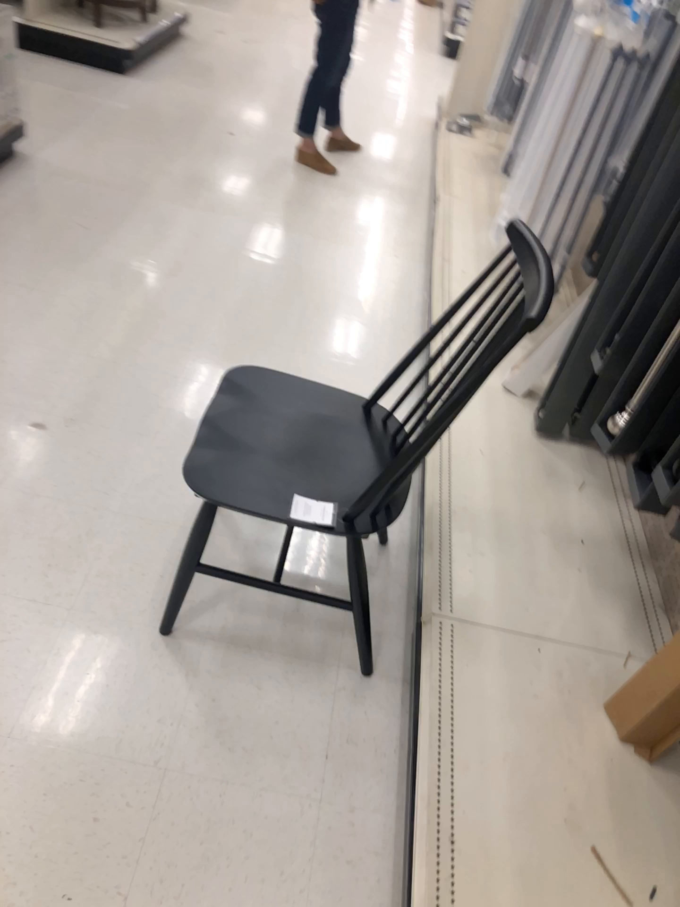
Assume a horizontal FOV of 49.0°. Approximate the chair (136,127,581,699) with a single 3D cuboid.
[{"bbox_3d":[-0.017,-0.046,1.512,0.608,0.909,0.520,14,40,-1],"label":"chair"}]
